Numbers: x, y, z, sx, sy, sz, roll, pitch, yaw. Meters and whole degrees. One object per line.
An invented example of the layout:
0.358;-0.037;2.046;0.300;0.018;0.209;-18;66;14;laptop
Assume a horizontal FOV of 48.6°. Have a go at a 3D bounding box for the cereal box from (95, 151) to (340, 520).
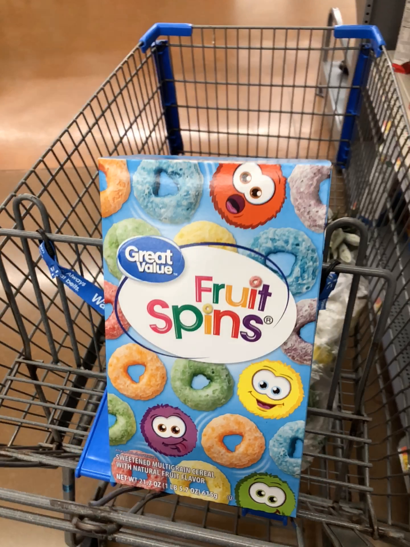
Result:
0.009;0.058;0.457;0.200;0.340;0.090;5;18;11;cereal box
